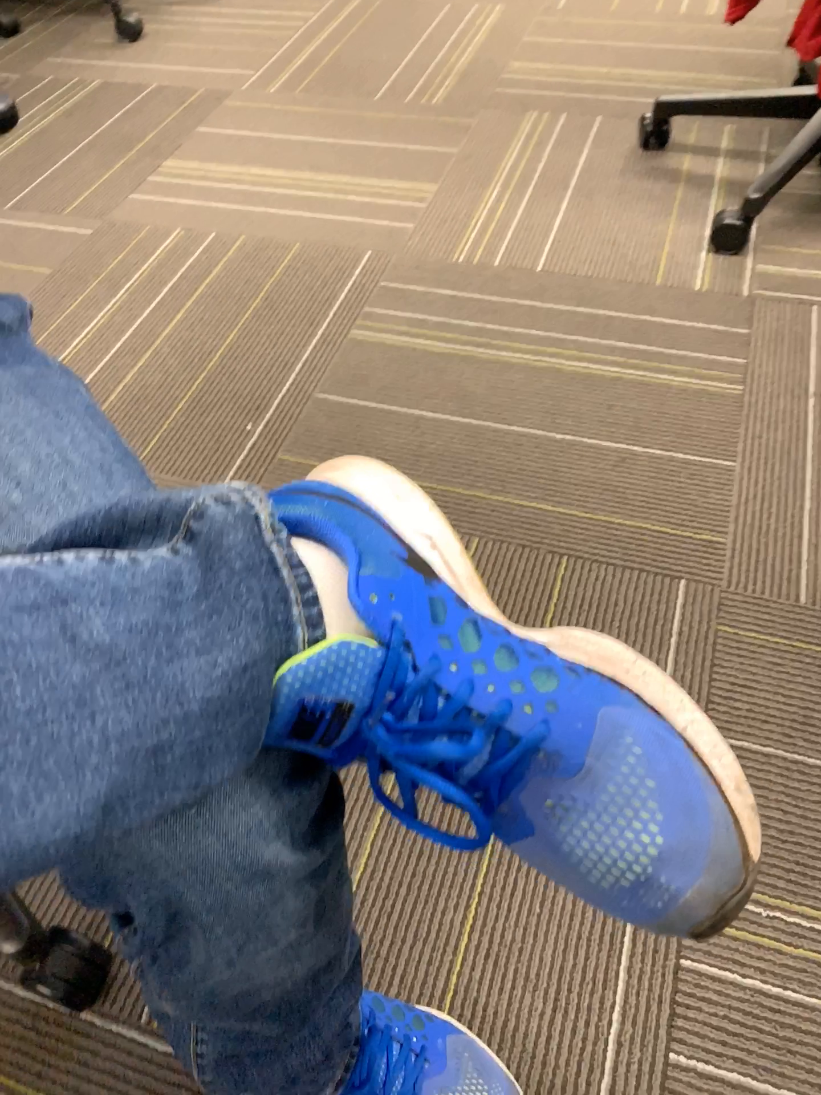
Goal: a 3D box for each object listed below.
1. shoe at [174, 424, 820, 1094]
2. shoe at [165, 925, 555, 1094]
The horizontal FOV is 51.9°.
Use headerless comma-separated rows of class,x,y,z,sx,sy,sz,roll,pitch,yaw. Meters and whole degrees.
shoe,0.026,0.065,0.365,0.276,0.117,0.103,35,35,30
shoe,-0.038,0.418,0.679,0.284,0.086,0.101,14,52,16
